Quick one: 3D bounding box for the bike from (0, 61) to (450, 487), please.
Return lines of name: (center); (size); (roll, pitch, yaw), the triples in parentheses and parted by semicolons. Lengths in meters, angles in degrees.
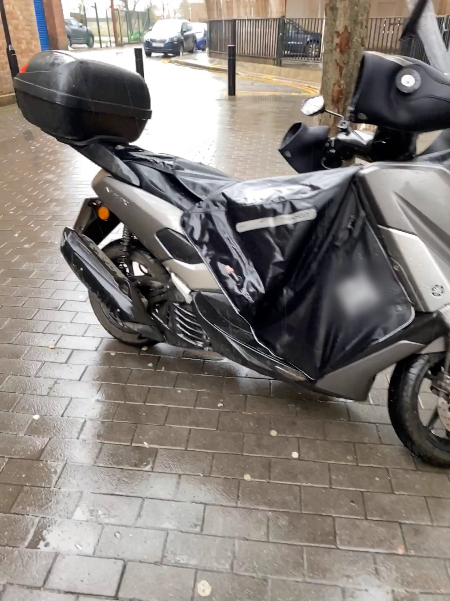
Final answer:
bike: (0.243, -0.232, 1.769); (1.731, 1.121, 0.763); (12, 32, 18)
